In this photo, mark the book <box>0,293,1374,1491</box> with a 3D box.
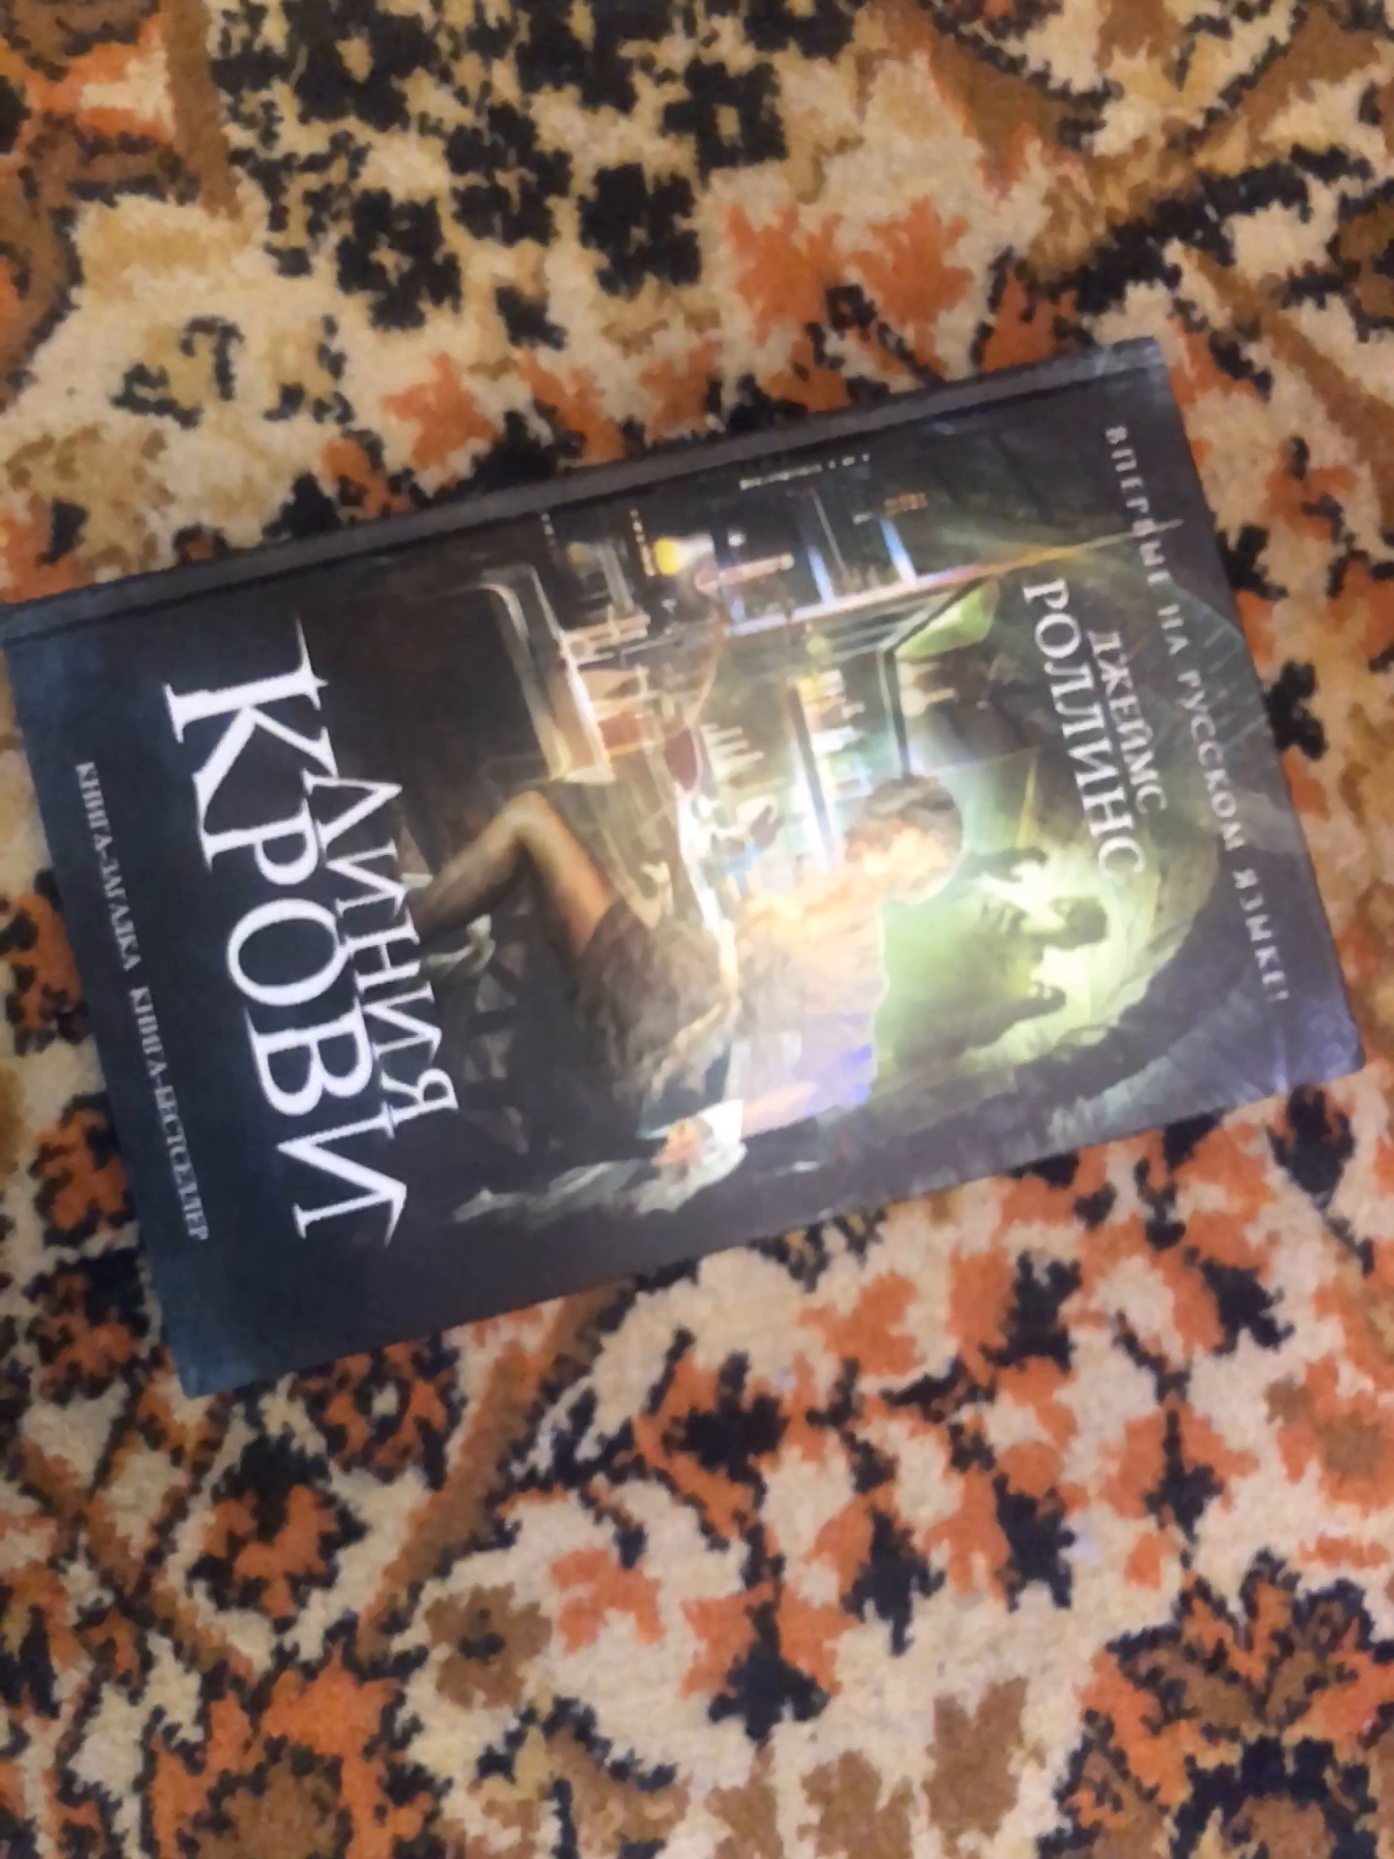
[{"bbox_3d":[-0.011,-0.010,0.293,0.226,0.040,0.159,-14,86,-4],"label":"book"}]
